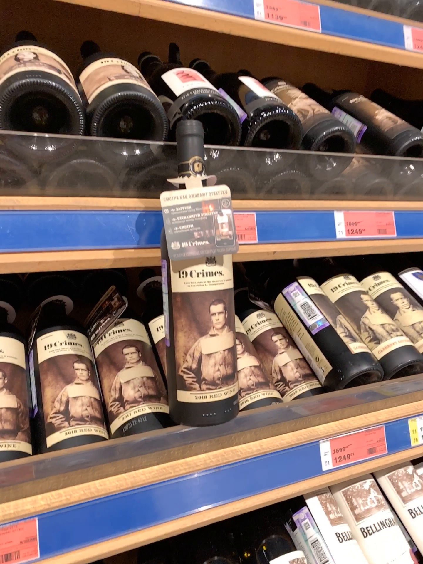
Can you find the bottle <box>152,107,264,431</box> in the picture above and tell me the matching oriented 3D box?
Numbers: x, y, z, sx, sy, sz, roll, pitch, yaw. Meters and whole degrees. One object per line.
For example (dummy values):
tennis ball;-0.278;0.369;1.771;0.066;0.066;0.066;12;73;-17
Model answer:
bottle;-0.005;-0.013;0.459;0.087;0.300;0.081;-1;4;0
